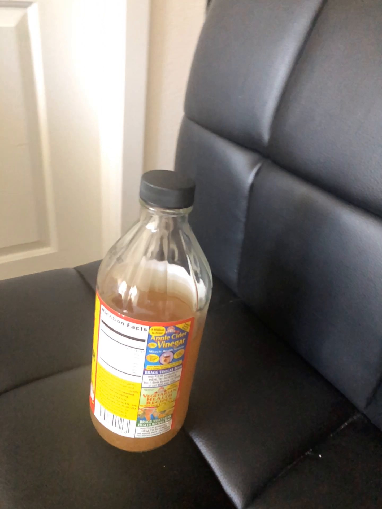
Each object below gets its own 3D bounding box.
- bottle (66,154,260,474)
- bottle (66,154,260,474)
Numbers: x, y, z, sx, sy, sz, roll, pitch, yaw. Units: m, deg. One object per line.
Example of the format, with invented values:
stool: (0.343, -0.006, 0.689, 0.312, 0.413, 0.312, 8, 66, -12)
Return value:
bottle: (-0.024, 0.040, 0.270, 0.070, 0.179, 0.070, 10, 29, -5)
bottle: (-0.024, 0.040, 0.270, 0.070, 0.179, 0.070, 10, 29, -5)
